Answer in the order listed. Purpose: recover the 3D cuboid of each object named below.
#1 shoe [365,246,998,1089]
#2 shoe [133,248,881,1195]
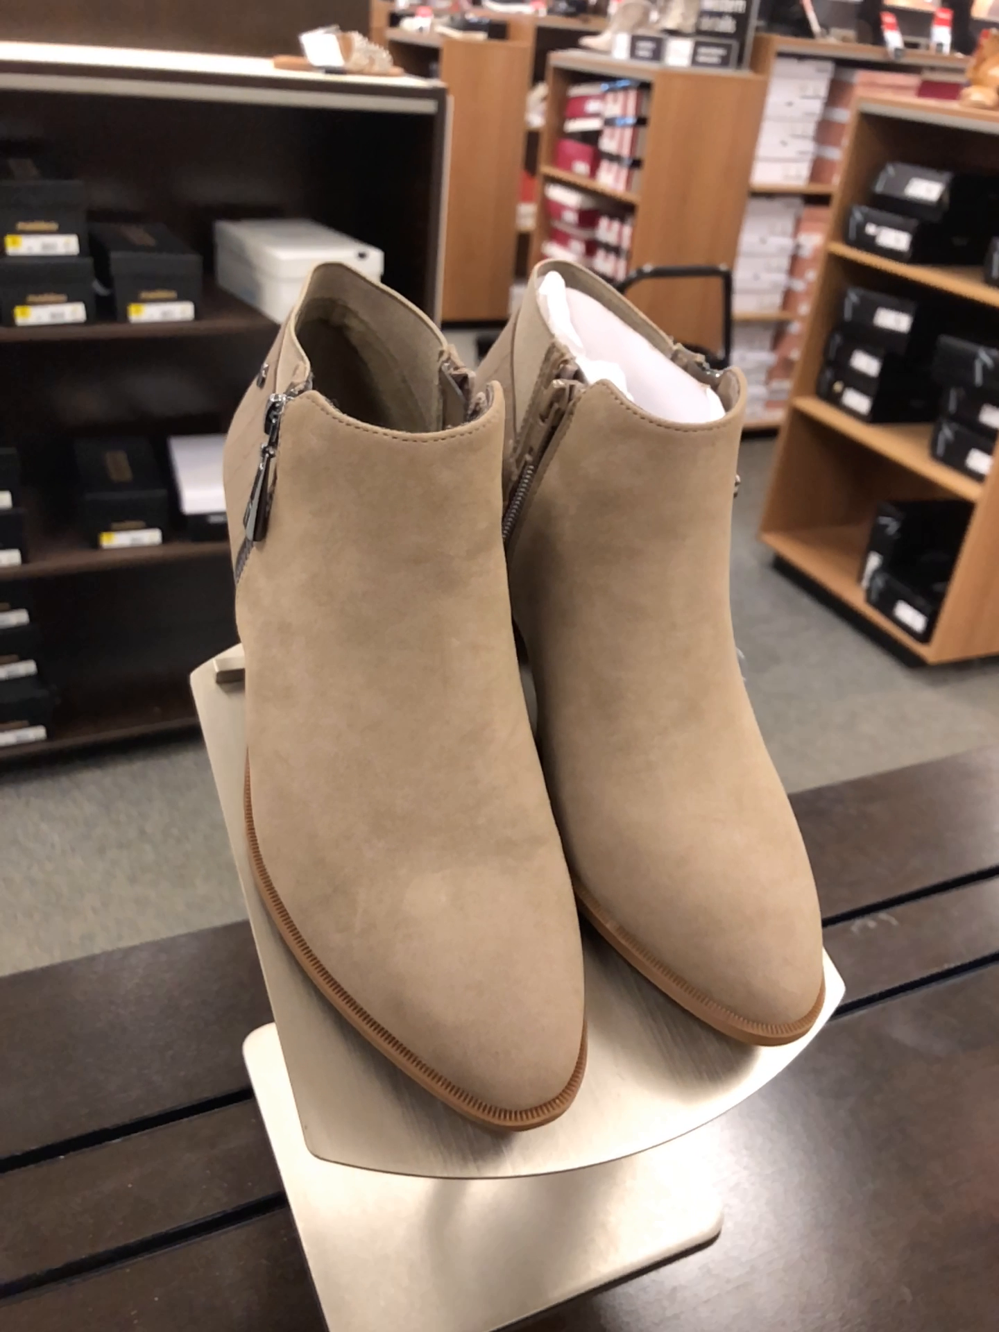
[{"bbox_3d":[0.050,-0.023,0.361,0.095,0.153,0.240,-11,38,-26],"label":"shoe"},{"bbox_3d":[-0.028,-0.007,0.325,0.095,0.152,0.231,-11,40,-26],"label":"shoe"}]
